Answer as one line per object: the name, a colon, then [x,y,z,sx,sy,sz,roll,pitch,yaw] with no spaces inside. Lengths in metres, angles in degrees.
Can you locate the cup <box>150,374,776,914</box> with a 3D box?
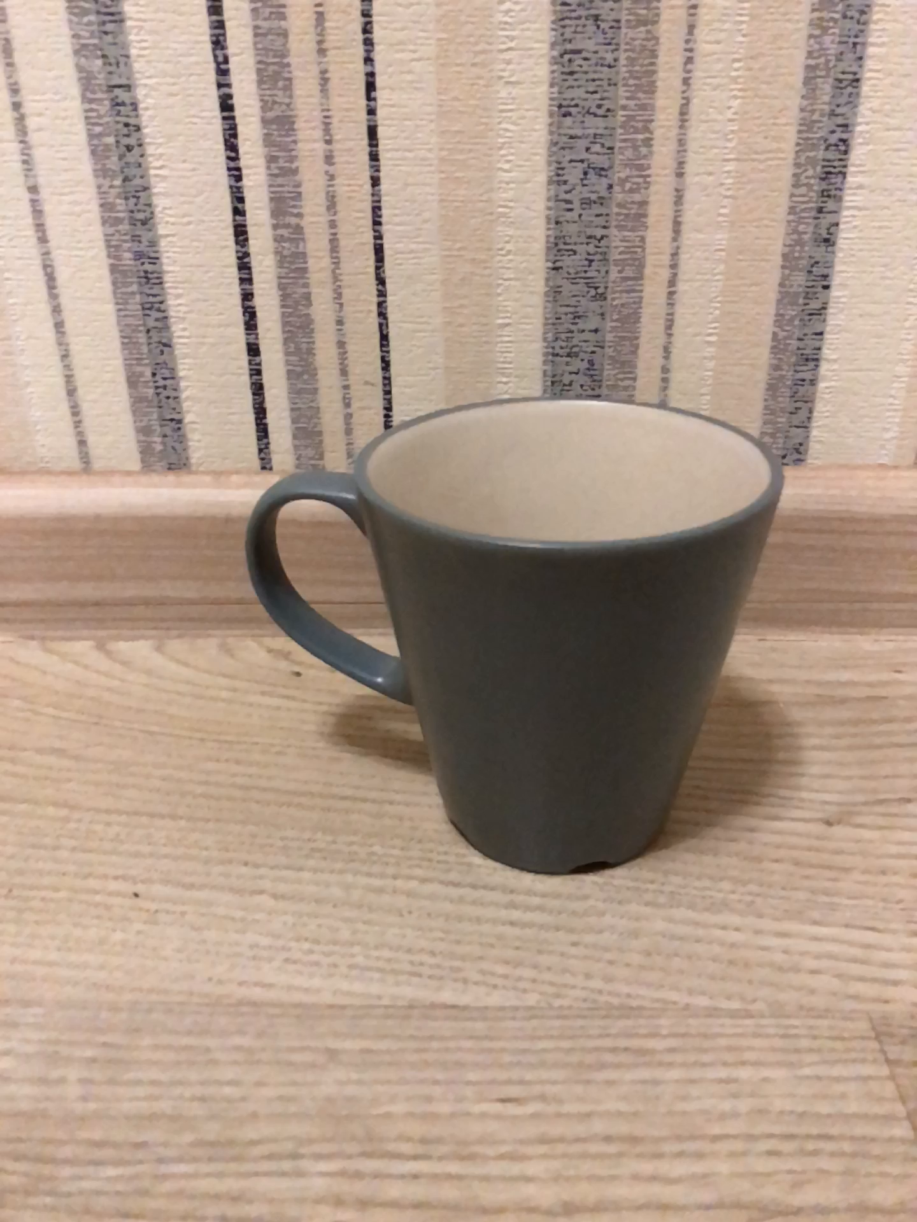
cup: [0.009,-0.001,0.257,0.124,0.089,0.096,6,28,13]
